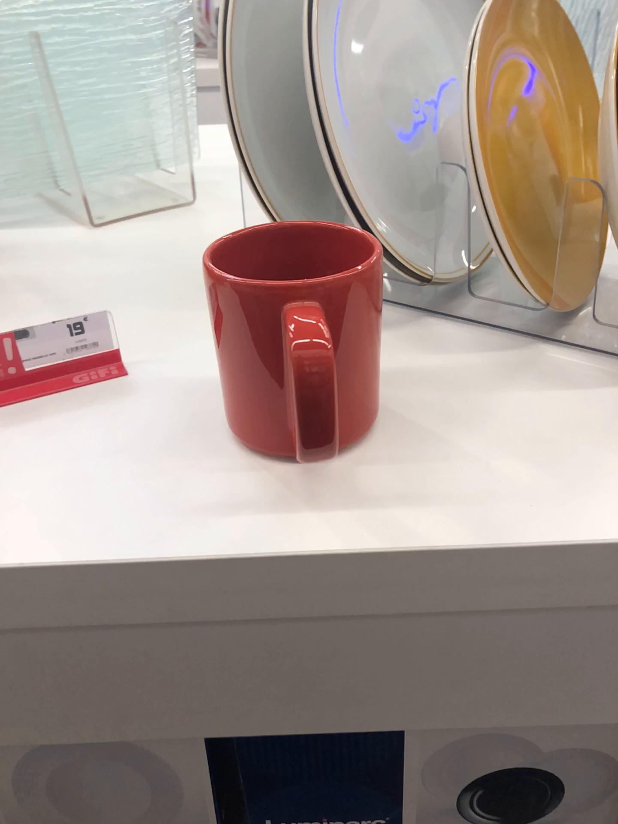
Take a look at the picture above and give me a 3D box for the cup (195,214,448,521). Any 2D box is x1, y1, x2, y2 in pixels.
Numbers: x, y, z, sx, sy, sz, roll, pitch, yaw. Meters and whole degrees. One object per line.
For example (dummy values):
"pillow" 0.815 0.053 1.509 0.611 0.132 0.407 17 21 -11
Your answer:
"cup" -0.002 -0.029 0.318 0.091 0.082 0.130 -7 32 -5
